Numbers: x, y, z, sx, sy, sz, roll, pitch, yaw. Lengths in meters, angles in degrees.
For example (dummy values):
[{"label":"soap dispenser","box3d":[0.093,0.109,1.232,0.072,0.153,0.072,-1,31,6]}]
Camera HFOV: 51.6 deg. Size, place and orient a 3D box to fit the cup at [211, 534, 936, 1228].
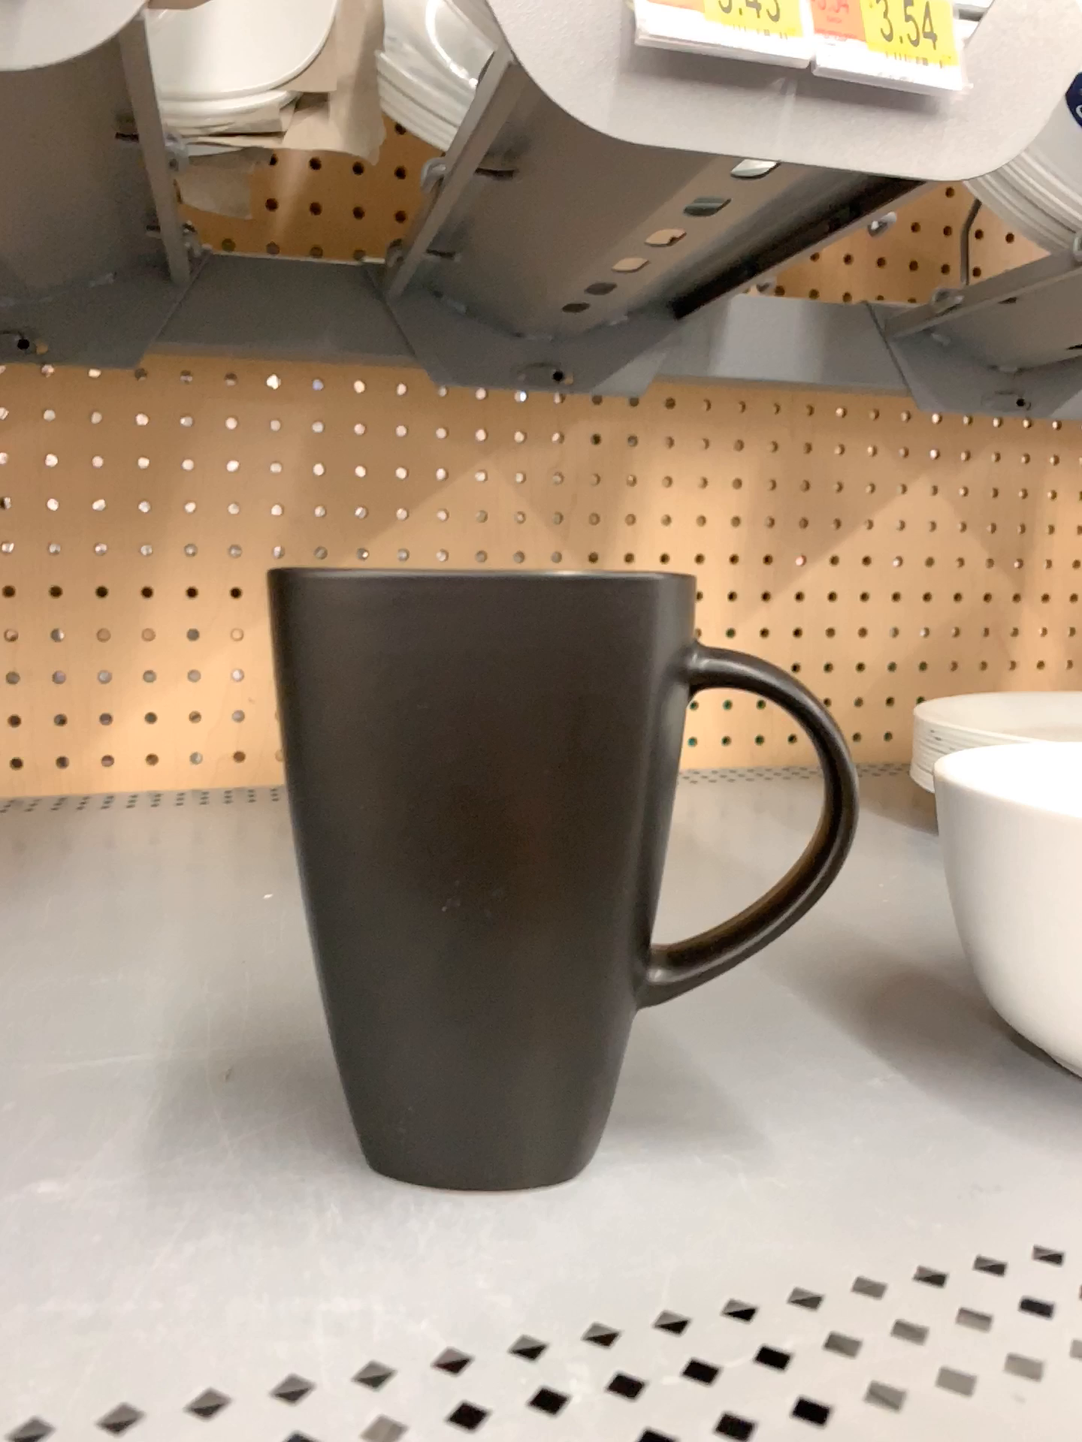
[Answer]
[{"label":"cup","box3d":[0.004,0.026,0.252,0.130,0.130,0.090,0,7,-3]}]
